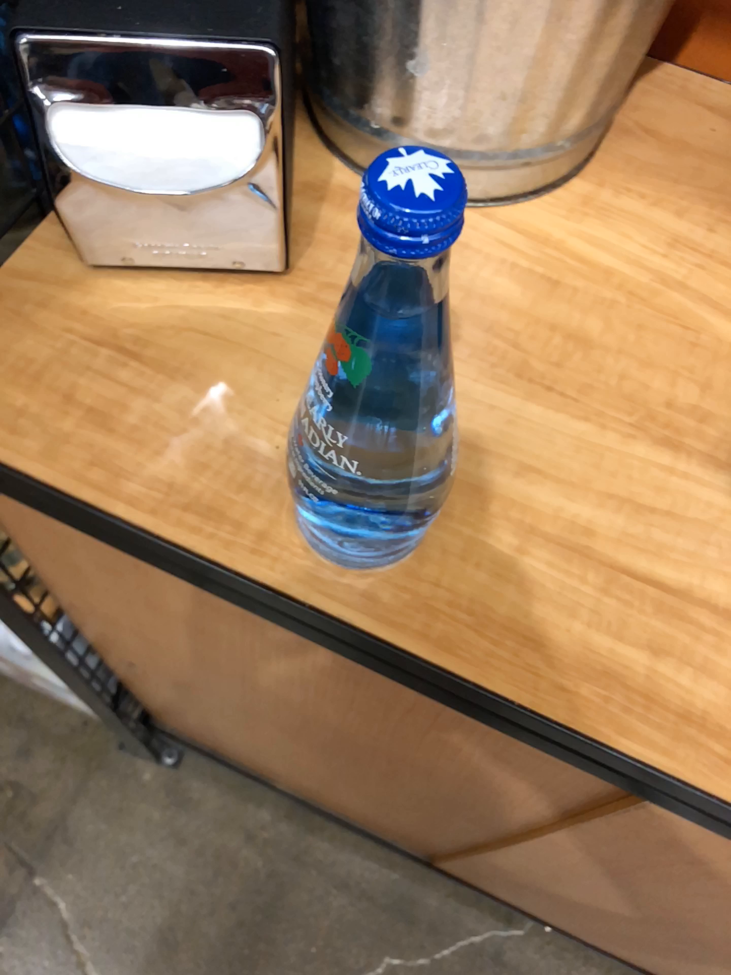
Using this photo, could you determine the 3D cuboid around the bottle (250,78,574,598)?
[{"bbox_3d":[0.003,-0.032,0.285,0.060,0.190,0.060,2,62,-4],"label":"bottle"}]
